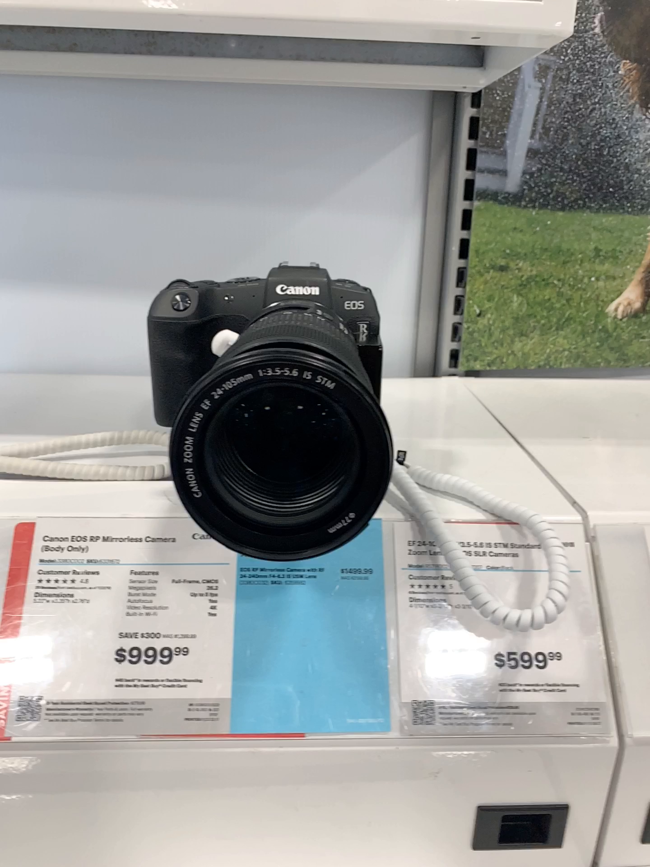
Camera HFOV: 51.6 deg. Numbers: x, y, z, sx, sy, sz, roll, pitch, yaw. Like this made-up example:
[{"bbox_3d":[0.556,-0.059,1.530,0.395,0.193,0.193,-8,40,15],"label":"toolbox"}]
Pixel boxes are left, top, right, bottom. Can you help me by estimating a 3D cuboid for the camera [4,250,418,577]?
[{"bbox_3d":[-0.036,-0.029,0.324,0.132,0.100,0.200,0,19,0],"label":"camera"}]
